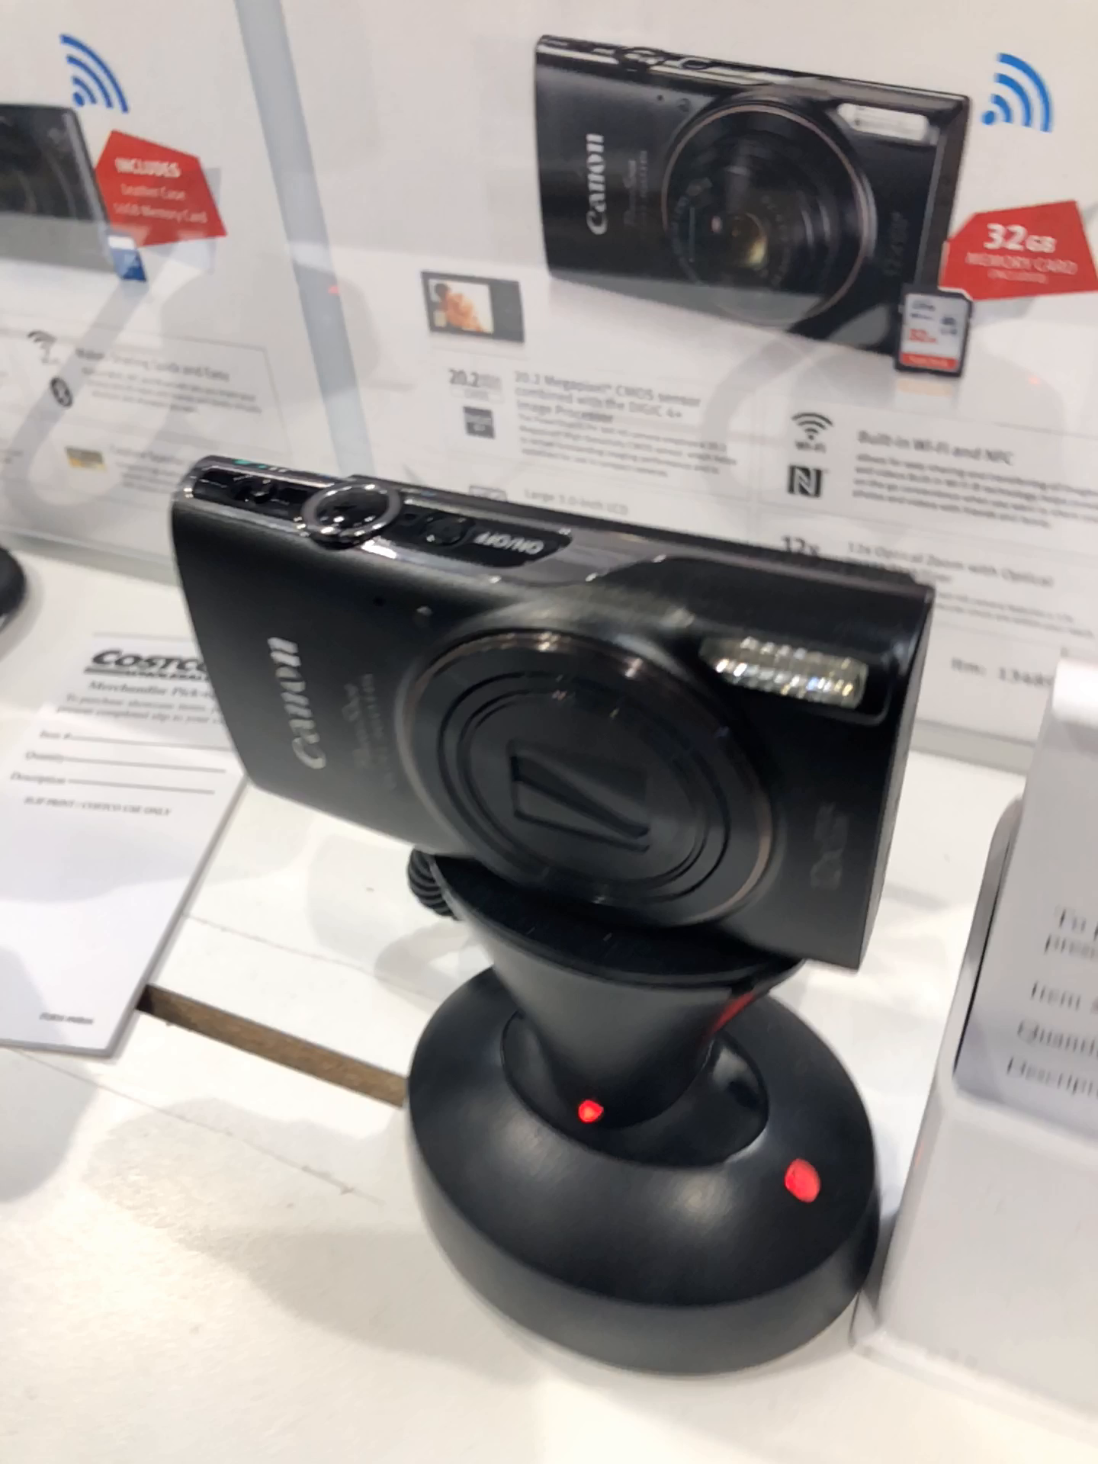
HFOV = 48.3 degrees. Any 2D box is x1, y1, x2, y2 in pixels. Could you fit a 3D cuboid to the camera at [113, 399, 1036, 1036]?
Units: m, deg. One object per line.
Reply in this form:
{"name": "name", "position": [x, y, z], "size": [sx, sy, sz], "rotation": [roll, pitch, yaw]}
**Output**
{"name": "camera", "position": [0.002, -0.004, 0.170], "size": [0.110, 0.060, 0.030], "rotation": [14, 46, 21]}
